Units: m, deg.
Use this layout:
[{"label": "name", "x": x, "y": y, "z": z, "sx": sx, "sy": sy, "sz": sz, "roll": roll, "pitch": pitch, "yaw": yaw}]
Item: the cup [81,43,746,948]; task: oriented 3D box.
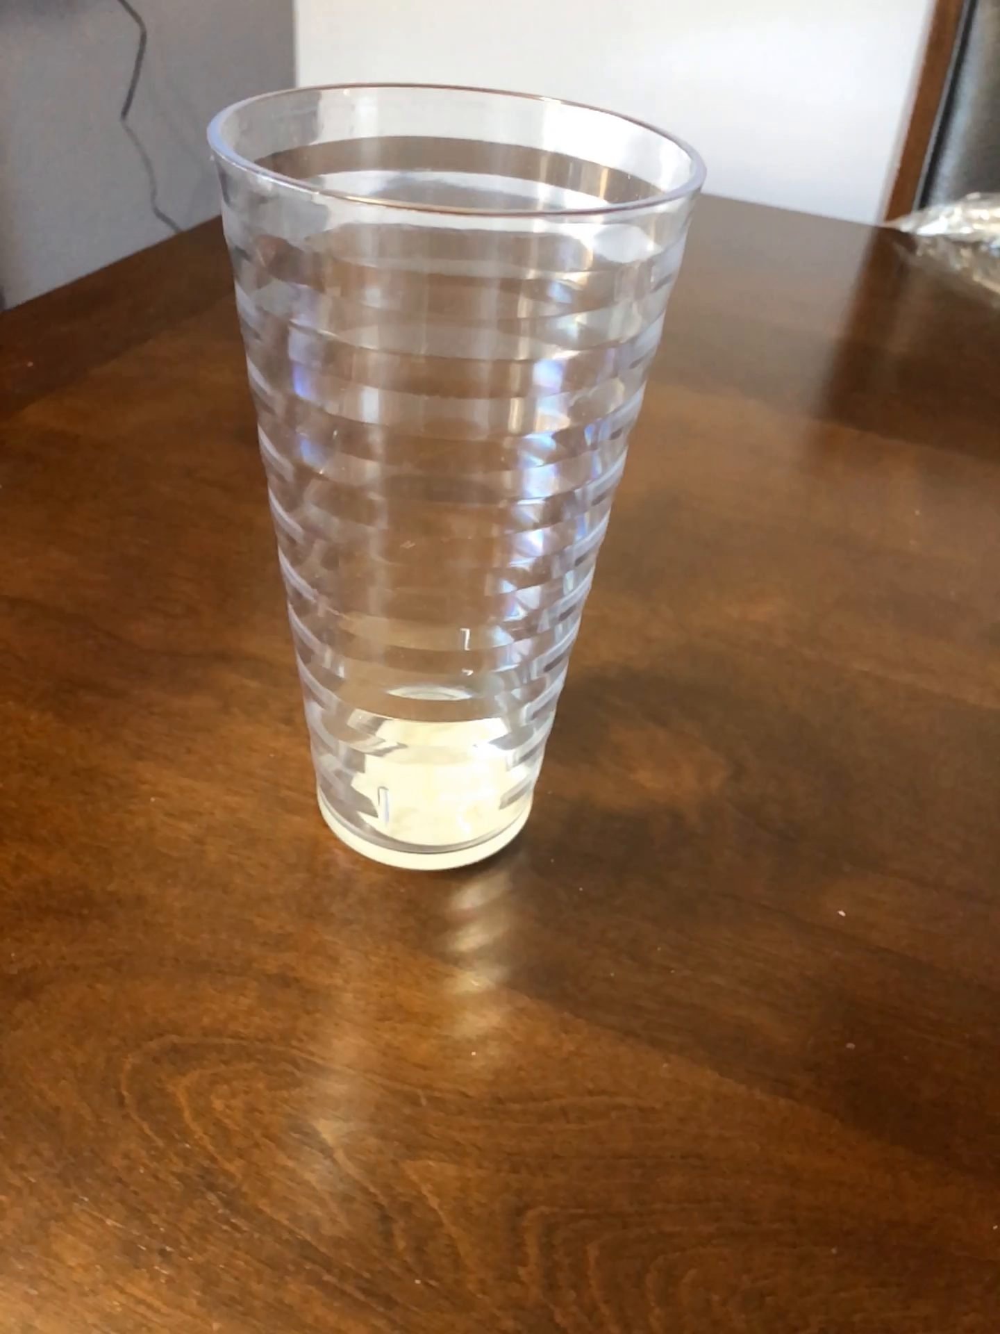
[{"label": "cup", "x": -0.017, "y": -0.041, "z": 0.280, "sx": 0.100, "sy": 0.179, "sz": 0.100, "roll": 3, "pitch": 38, "yaw": -3}]
